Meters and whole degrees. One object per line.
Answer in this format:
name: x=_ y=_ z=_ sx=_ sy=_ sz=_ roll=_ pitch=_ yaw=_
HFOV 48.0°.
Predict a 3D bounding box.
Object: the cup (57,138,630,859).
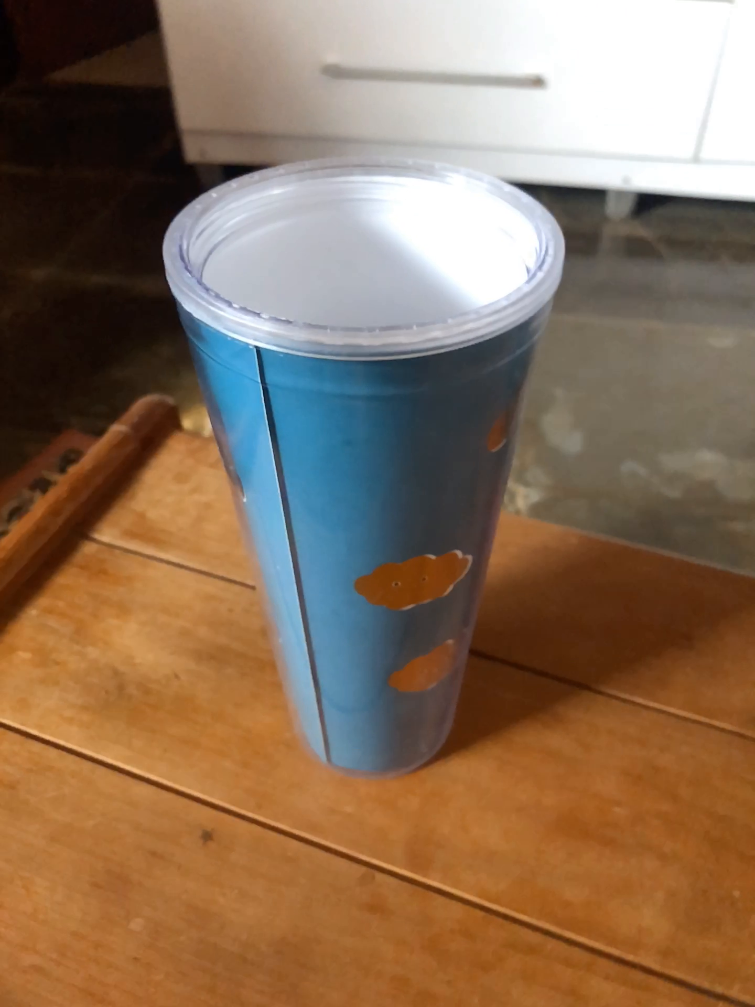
cup: x=-0.002 y=0.003 z=0.264 sx=0.100 sy=0.179 sz=0.101 roll=-1 pitch=43 yaw=1
